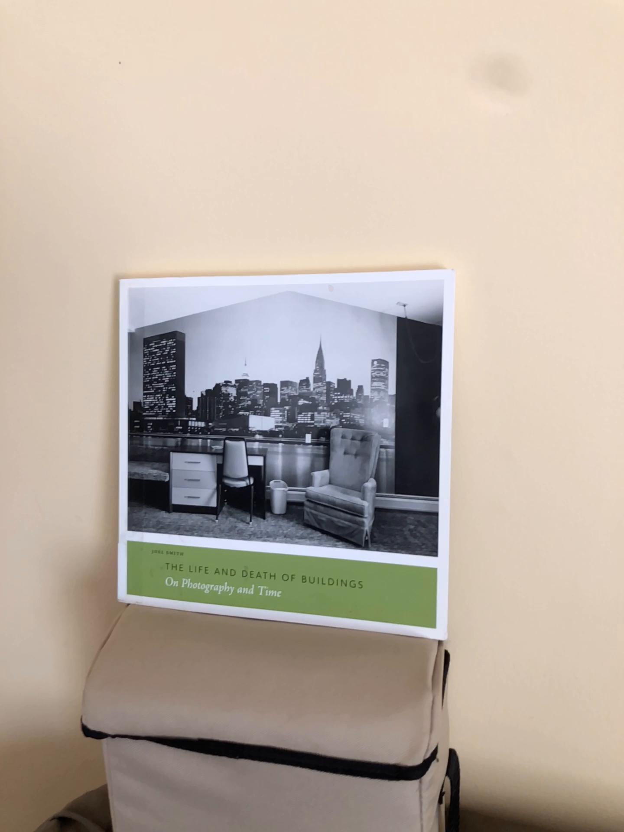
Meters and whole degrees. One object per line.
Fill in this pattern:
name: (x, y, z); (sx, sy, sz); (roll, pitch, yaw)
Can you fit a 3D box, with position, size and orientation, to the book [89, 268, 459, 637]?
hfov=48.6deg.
book: (-0.027, 0.016, 0.413); (0.216, 0.204, 0.020); (3, 2, 13)
